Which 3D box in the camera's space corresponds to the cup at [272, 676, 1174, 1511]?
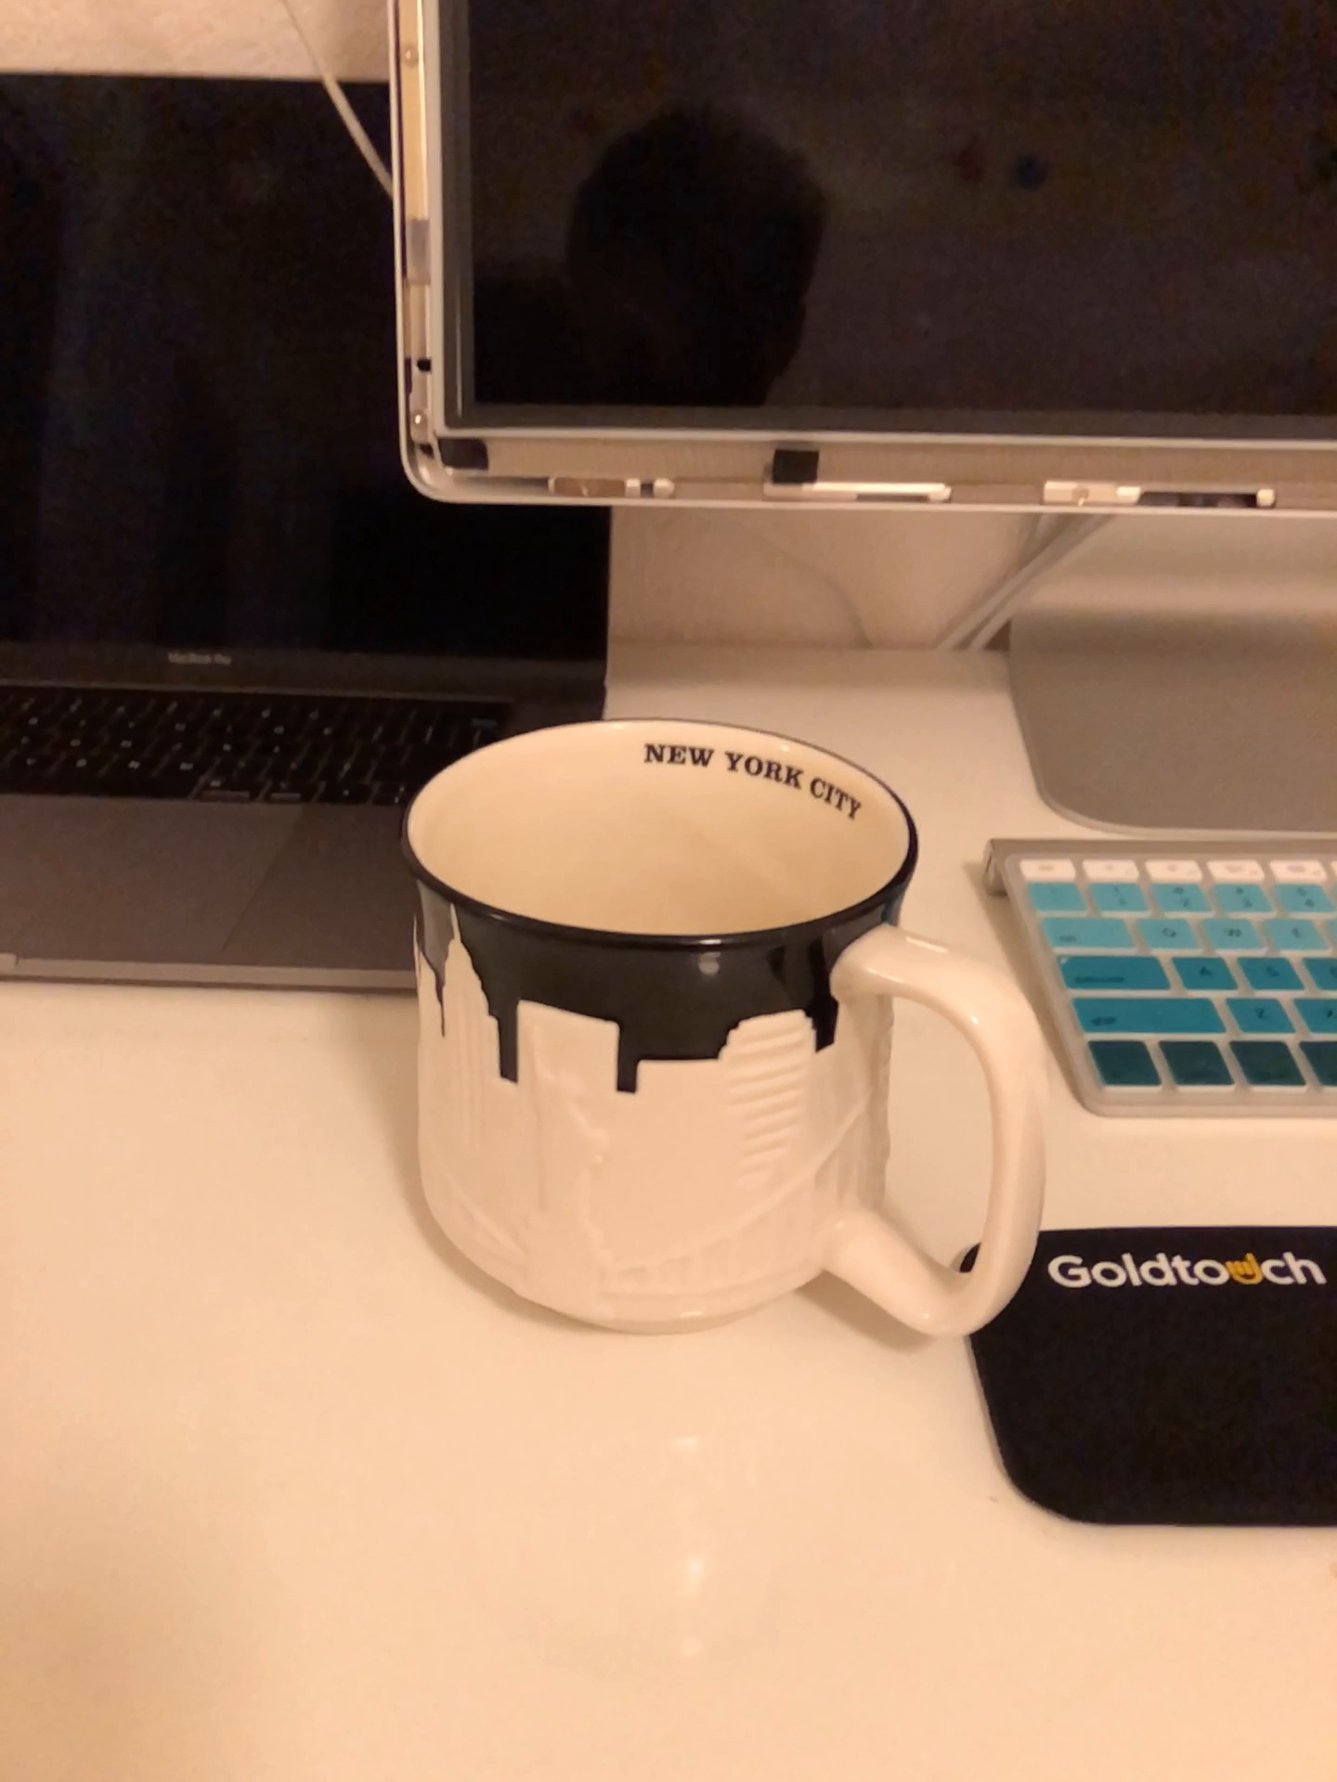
[{"bbox_3d":[0.013,0.028,0.308,0.140,0.089,0.110,16,32,25],"label":"cup"}]
